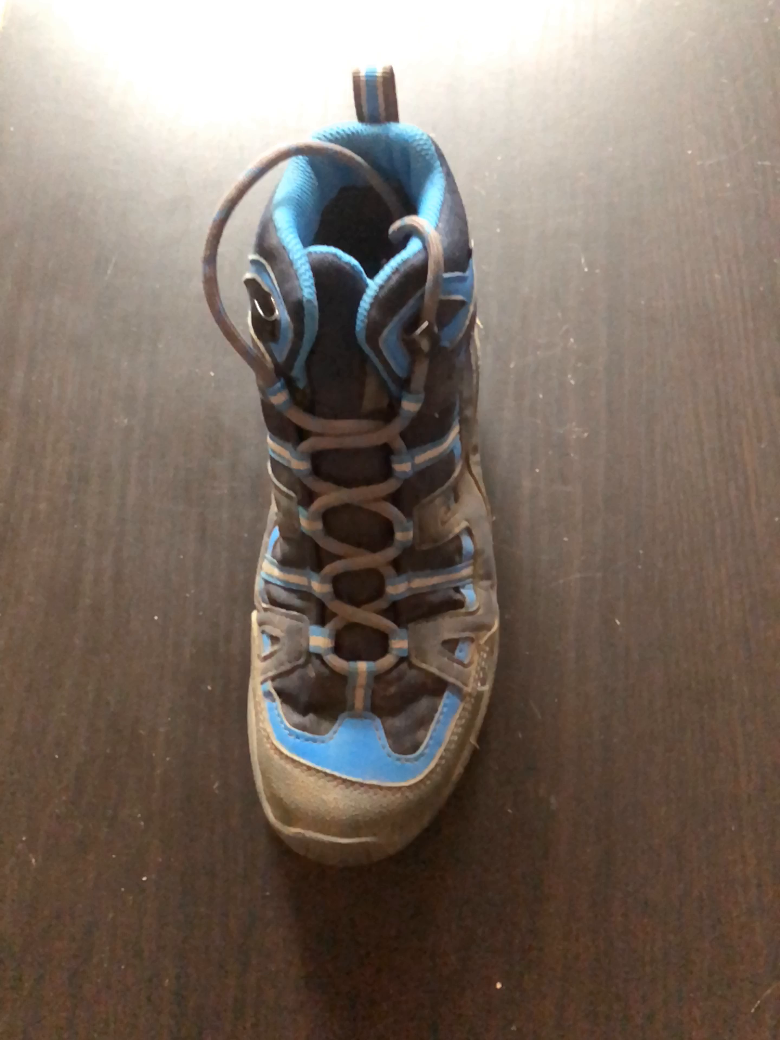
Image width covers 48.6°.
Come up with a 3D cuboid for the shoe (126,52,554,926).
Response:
[{"bbox_3d":[-0.004,-0.011,0.296,0.100,0.120,0.251,3,73,2],"label":"shoe"}]
